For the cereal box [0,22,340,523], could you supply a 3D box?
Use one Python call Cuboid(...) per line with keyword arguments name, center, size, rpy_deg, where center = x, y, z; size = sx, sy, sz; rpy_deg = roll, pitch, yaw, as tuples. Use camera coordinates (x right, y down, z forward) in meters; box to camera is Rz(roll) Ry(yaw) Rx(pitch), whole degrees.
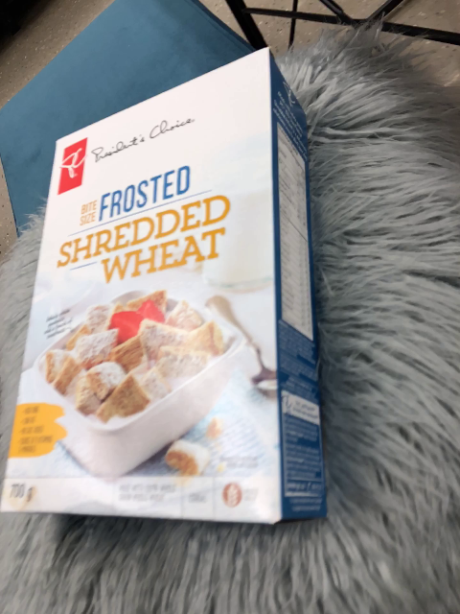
Cuboid(name="cereal box", center=(-0.042, -0.022, 0.350), size=(0.201, 0.070, 0.310), rpy_deg=(-10, 65, 24))
